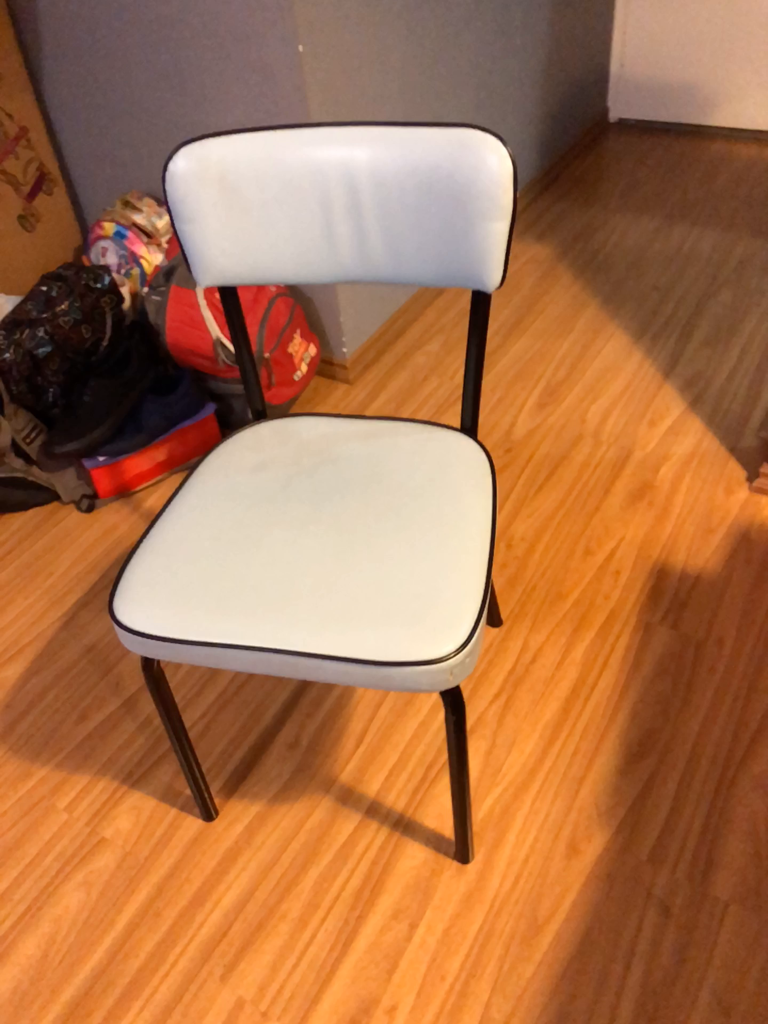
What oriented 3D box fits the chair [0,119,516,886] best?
[{"bbox_3d":[-0.087,0.015,1.067,0.450,0.794,0.503,4,44,13],"label":"chair"}]
